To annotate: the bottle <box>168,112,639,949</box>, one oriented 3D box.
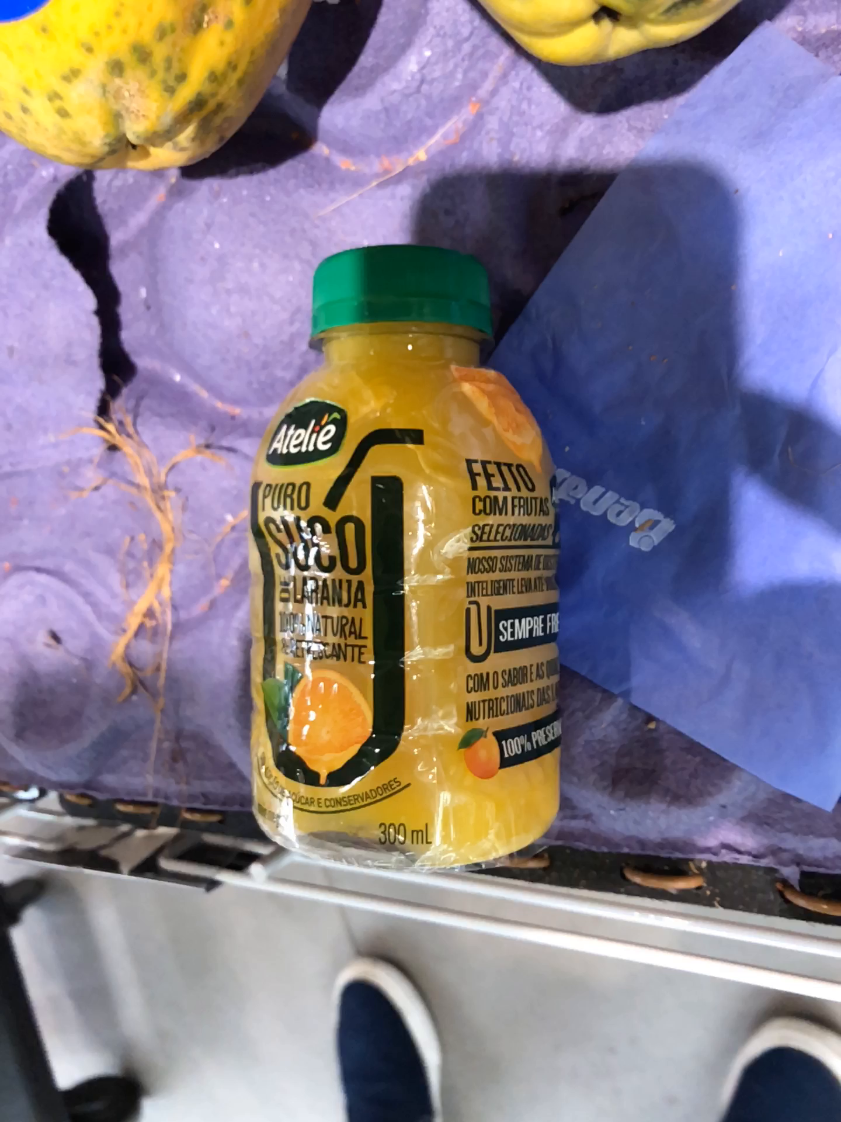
[{"bbox_3d":[0.001,-0.006,0.201,0.070,0.060,0.140,1,100,31],"label":"bottle"}]
